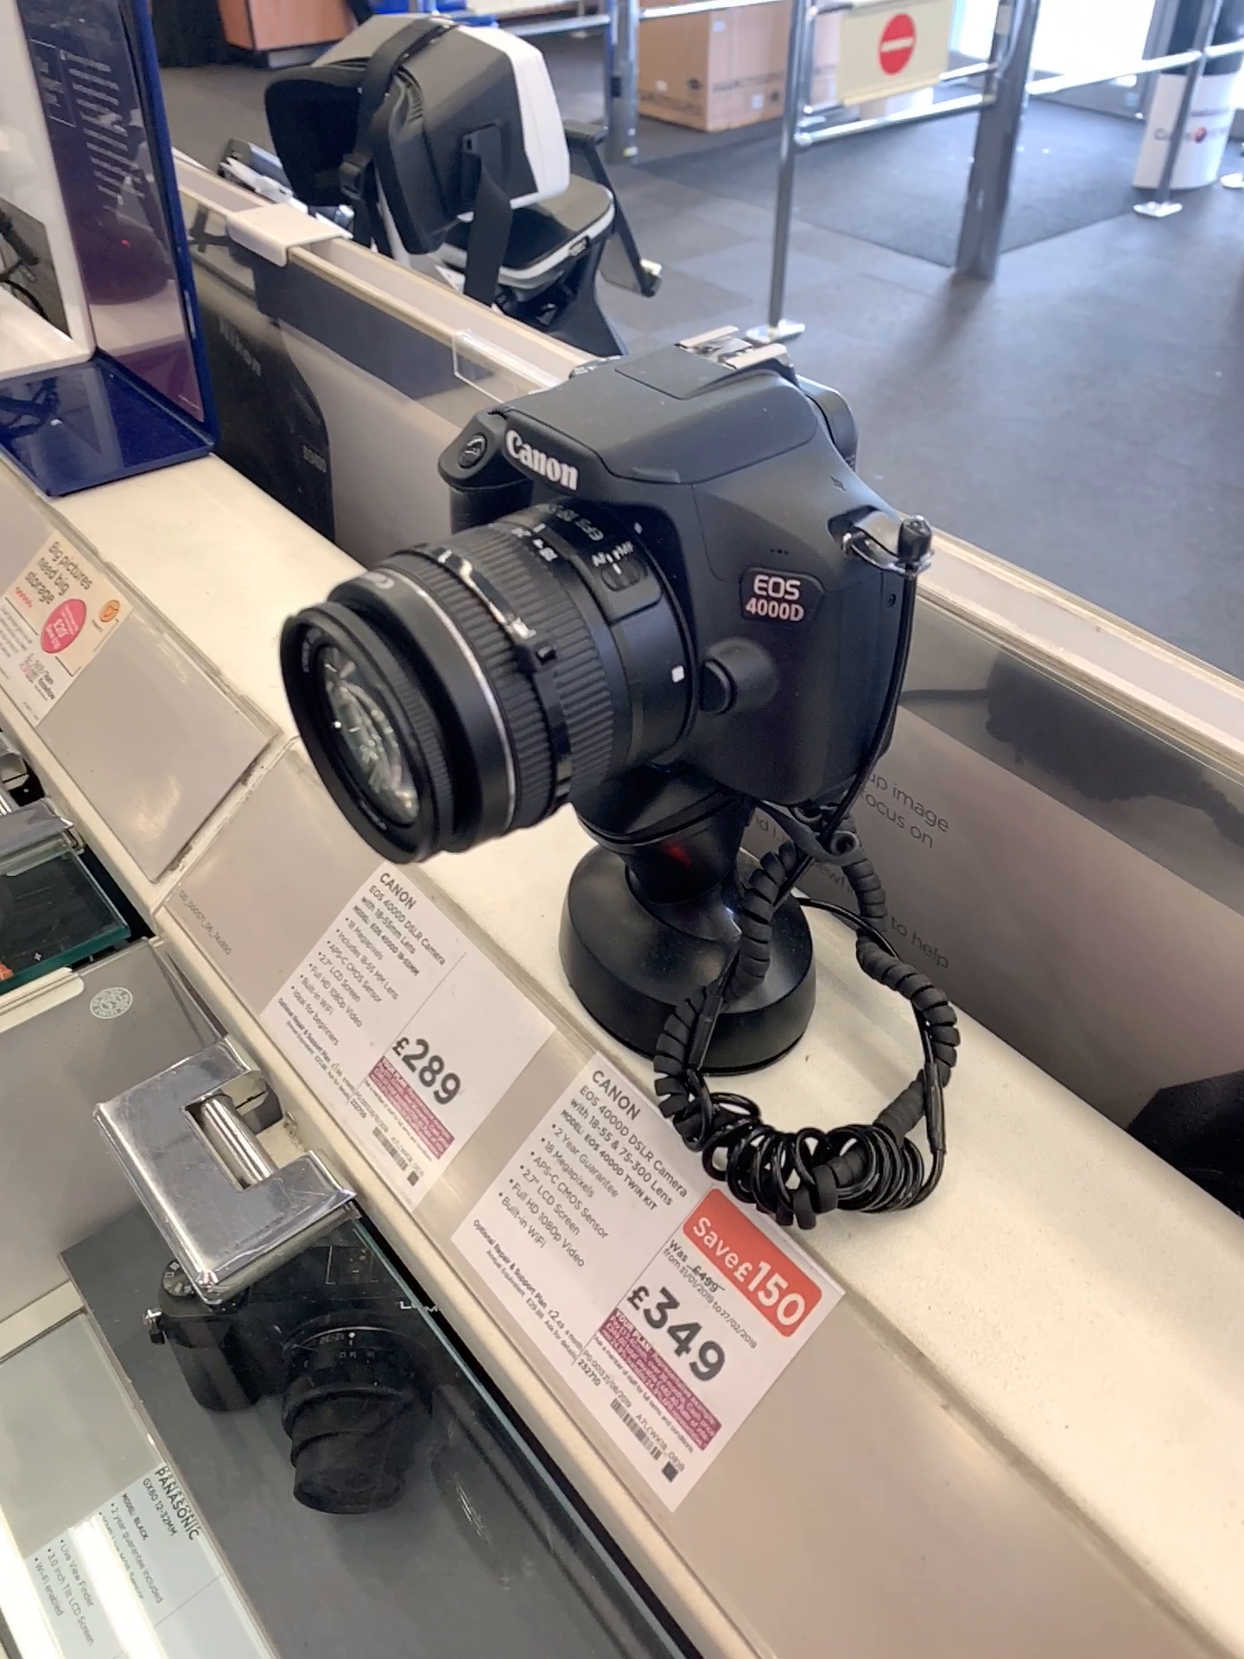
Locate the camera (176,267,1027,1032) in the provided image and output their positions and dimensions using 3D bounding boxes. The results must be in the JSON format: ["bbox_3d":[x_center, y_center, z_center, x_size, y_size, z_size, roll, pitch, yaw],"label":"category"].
[{"bbox_3d":[-0.009,-0.058,0.319,0.136,0.101,0.141,-25,46,-26],"label":"camera"}]
